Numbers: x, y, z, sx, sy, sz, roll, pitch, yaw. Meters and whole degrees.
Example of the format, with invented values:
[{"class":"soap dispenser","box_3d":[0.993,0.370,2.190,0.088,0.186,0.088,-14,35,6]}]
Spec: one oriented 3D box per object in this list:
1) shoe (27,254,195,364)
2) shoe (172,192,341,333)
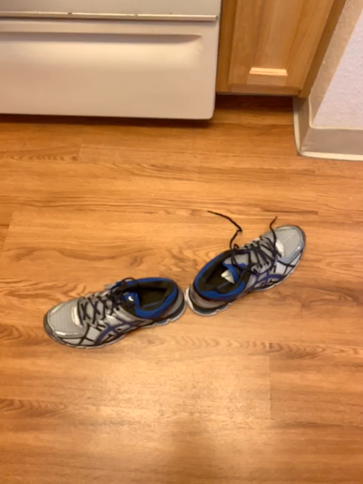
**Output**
[{"class":"shoe","box_3d":[-0.134,0.139,0.744,0.300,0.120,0.120,-15,67,-4]},{"class":"shoe","box_3d":[0.154,0.044,0.786,0.330,0.110,0.120,-31,69,-11]}]
